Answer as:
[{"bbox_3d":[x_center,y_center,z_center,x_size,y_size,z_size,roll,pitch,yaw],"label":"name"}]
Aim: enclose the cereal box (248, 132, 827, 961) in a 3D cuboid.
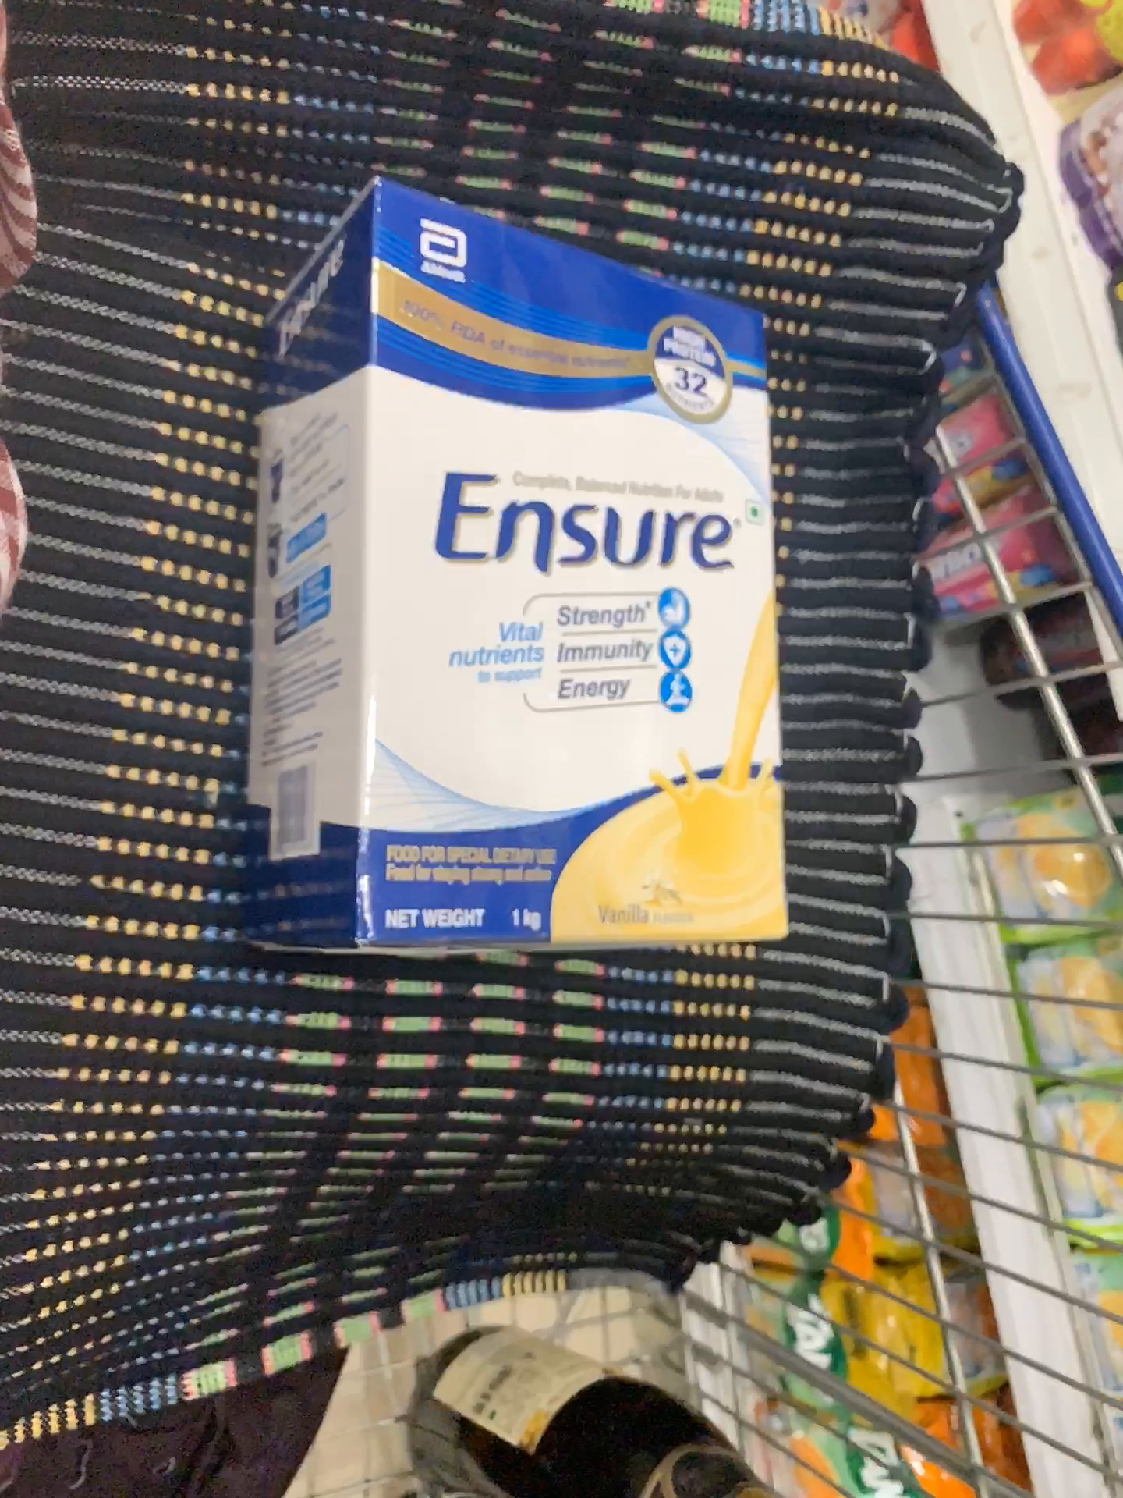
[{"bbox_3d":[-0.009,-0.046,0.375,0.150,0.090,0.220,5,77,-32],"label":"cereal box"}]
